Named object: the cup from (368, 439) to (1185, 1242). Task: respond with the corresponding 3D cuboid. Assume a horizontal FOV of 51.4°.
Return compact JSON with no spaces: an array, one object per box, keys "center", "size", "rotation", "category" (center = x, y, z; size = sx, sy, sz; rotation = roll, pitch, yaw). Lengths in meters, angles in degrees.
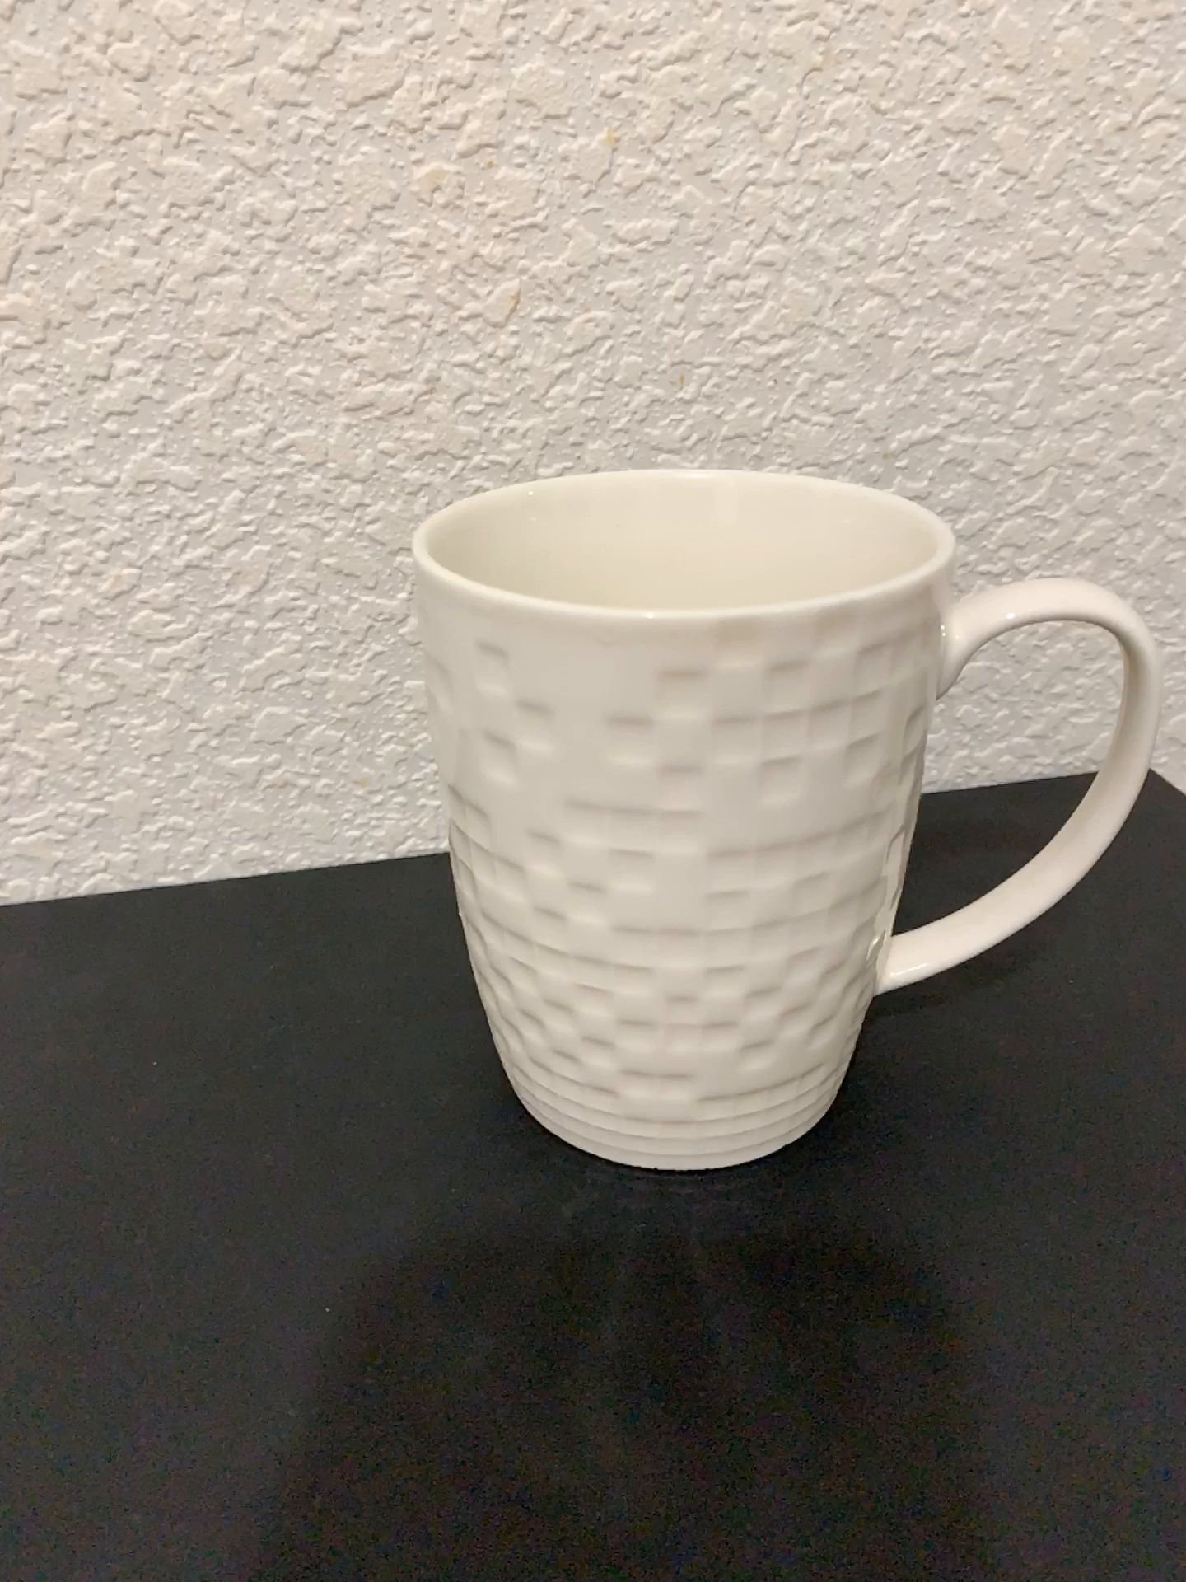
[{"center":[0.029,0.003,0.214],"size":[0.119,0.105,0.082],"rotation":[-4,28,-4],"category":"cup"}]
